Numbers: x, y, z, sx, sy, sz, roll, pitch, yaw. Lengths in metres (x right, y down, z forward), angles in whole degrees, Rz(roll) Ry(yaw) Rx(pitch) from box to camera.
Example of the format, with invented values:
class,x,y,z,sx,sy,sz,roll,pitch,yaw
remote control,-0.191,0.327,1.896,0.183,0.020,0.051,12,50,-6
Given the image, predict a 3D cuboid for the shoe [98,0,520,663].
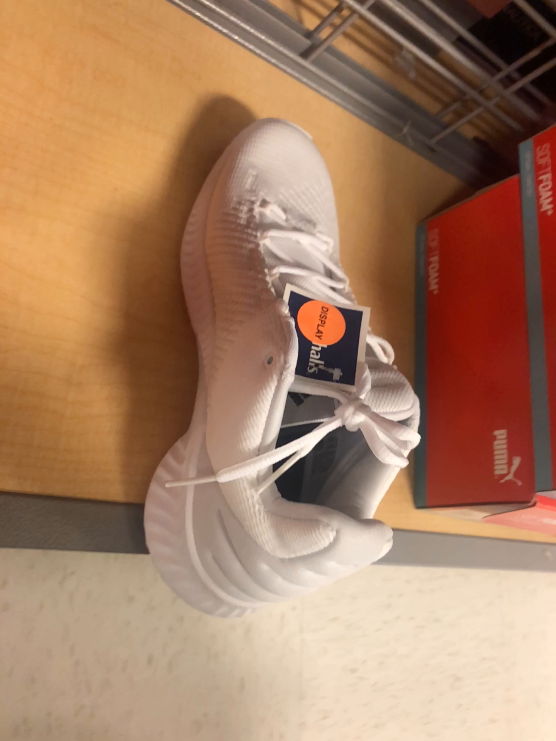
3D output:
class,x,y,z,sx,sy,sz,roll,pitch,yaw
shoe,0.027,-0.040,0.335,0.121,0.149,0.336,22,65,-32
